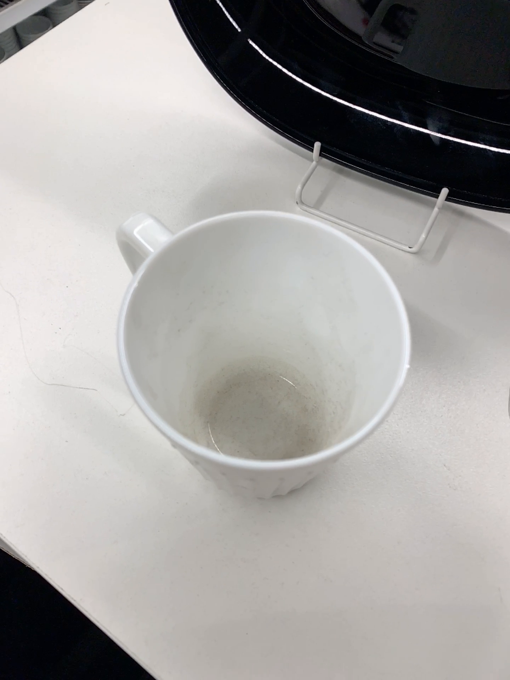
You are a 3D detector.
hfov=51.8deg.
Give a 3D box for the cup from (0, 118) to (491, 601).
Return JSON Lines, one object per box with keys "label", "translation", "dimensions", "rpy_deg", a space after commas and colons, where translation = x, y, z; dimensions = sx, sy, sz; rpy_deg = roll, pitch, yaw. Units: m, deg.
{"label": "cup", "translation": [-0.009, 0.008, 0.176], "dimensions": [0.110, 0.080, 0.090], "rpy_deg": [39, 67, 16]}
